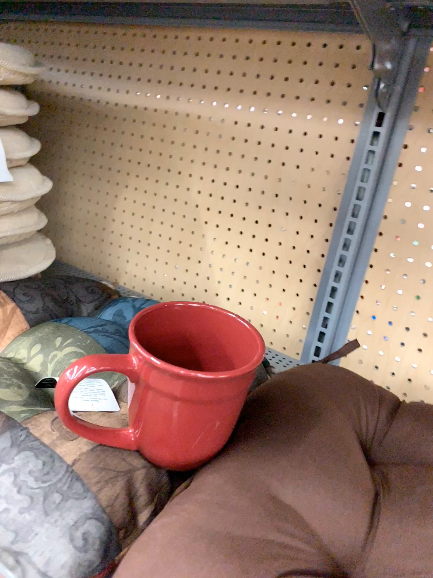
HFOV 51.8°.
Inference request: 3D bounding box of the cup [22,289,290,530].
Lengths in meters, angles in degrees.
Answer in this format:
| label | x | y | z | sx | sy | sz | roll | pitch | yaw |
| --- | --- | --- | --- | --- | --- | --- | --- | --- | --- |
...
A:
| label | x | y | z | sx | sy | sz | roll | pitch | yaw |
| --- | --- | --- | --- | --- | --- | --- | --- | --- | --- |
| cup | -0.047 | 0.070 | 0.317 | 0.150 | 0.090 | 0.100 | -6 | 31 | -34 |
